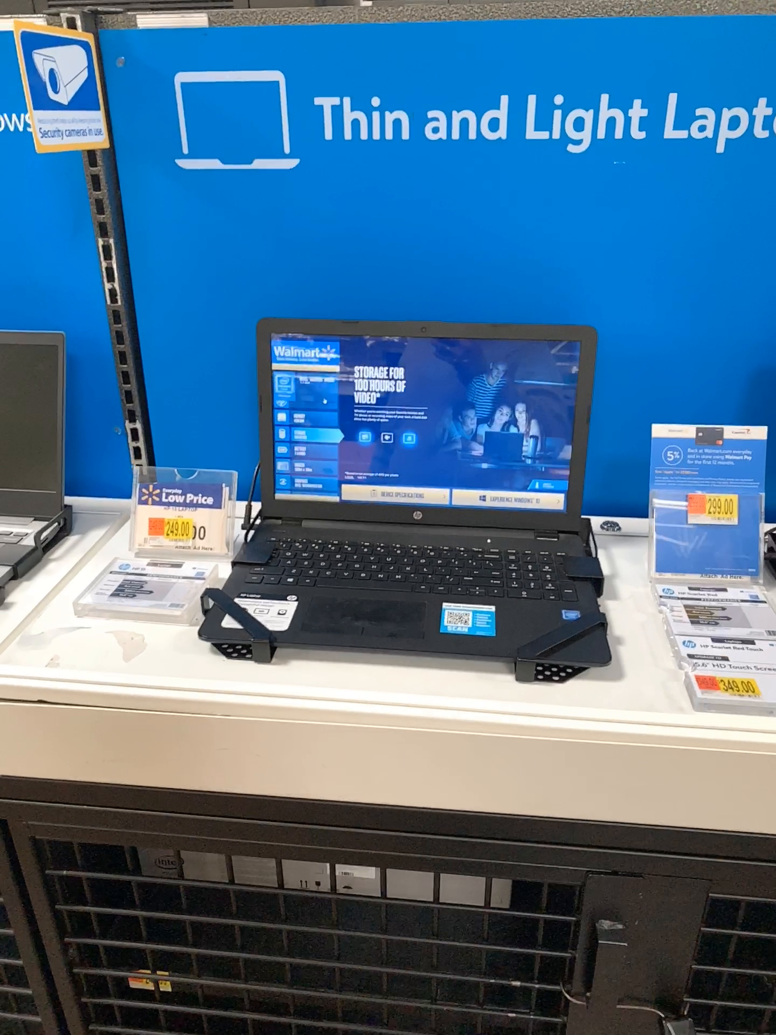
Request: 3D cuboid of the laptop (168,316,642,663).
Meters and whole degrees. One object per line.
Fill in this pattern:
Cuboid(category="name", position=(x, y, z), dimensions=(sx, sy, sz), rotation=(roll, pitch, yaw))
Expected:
Cuboid(category="laptop", position=(0.022, -0.048, 0.782), dimensions=(0.363, 0.225, 0.287), rotation=(2, 26, 5))
